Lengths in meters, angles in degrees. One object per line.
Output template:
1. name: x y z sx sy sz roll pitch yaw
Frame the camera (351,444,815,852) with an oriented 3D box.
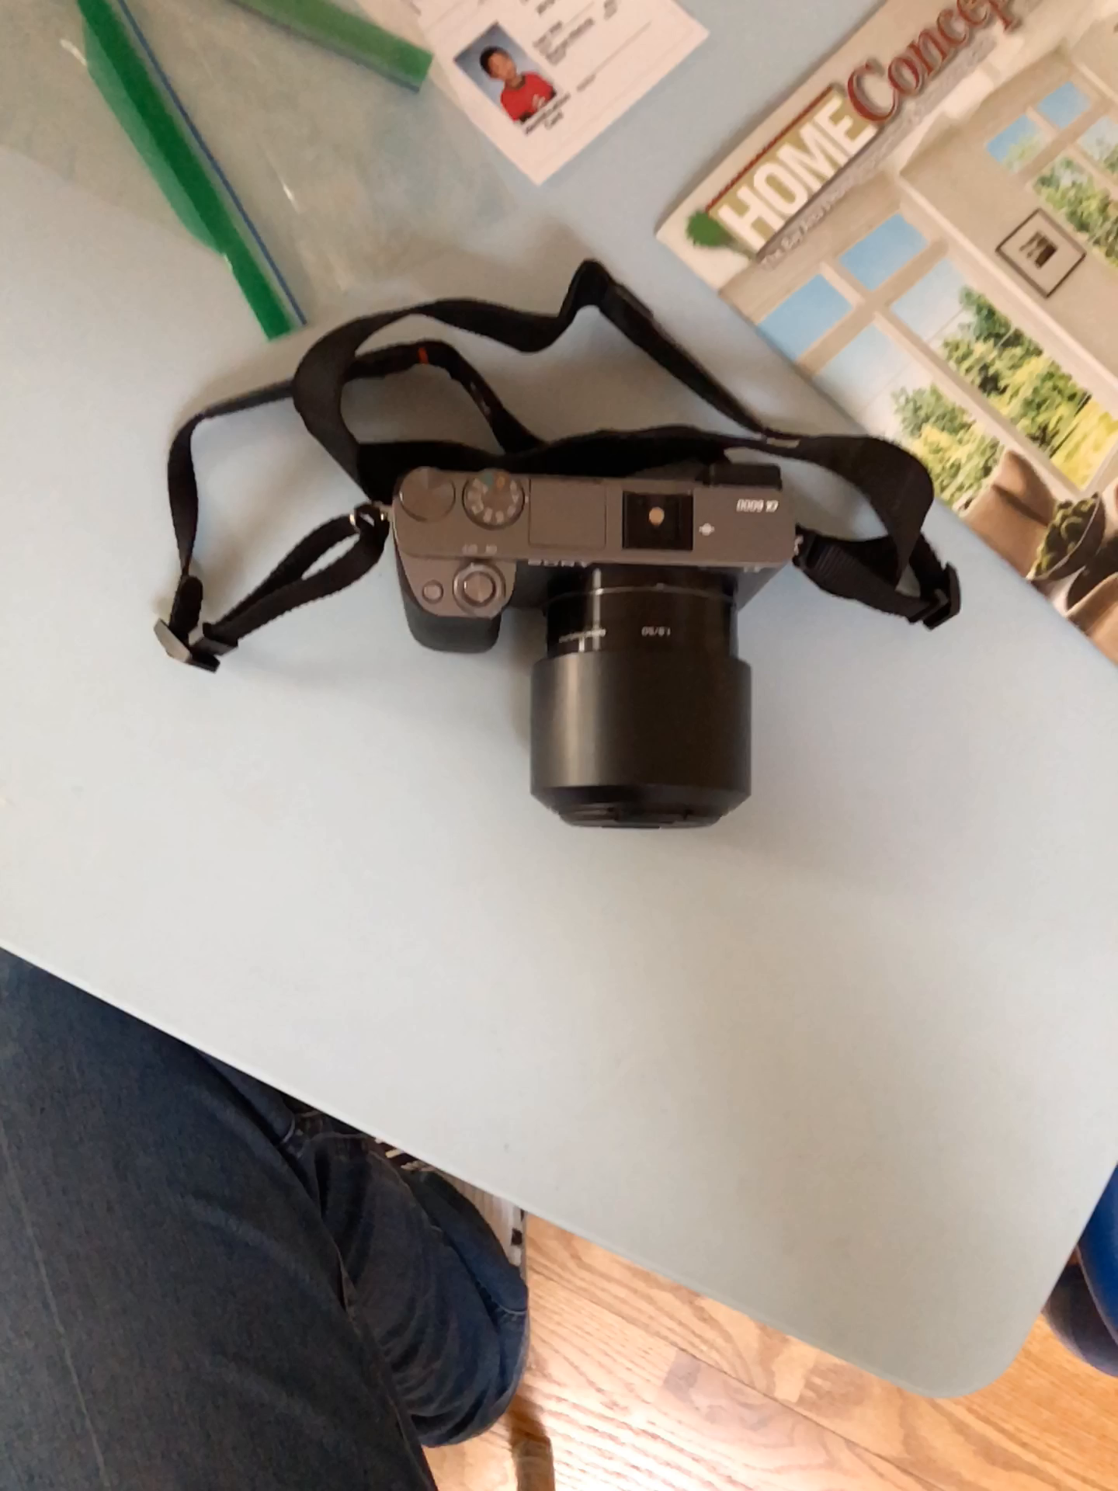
1. camera: 0.006 -0.025 0.387 0.130 0.070 0.110 2 83 -4
